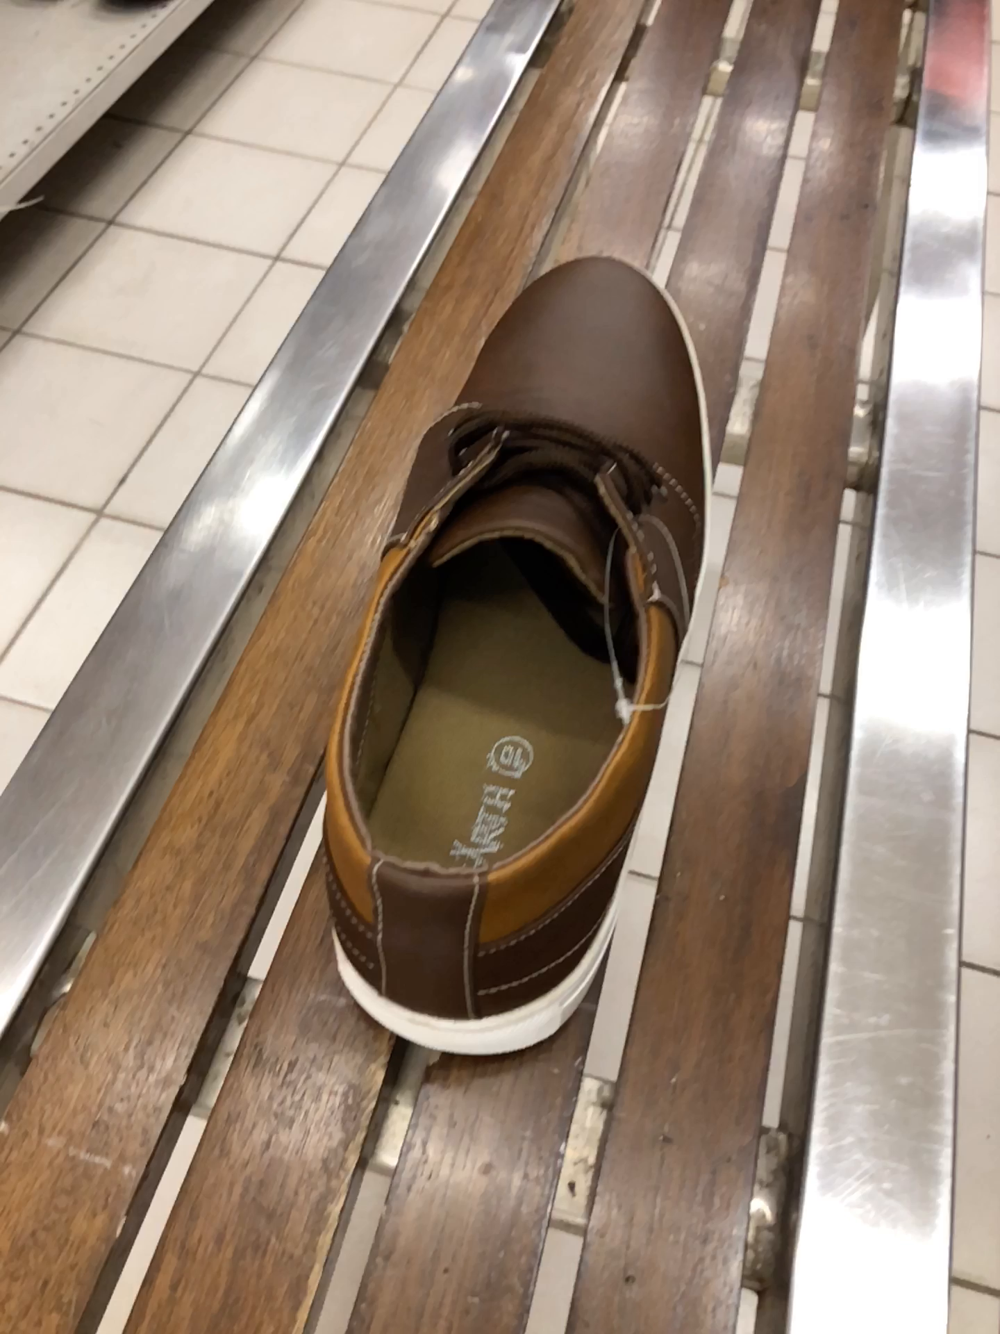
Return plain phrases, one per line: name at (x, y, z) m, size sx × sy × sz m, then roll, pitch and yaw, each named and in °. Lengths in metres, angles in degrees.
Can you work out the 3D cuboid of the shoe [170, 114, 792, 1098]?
shoe at (0.017, -0.047, 0.344) m, size 0.100 × 0.080 × 0.312 m, roll 12°, pitch 55°, yaw 7°
